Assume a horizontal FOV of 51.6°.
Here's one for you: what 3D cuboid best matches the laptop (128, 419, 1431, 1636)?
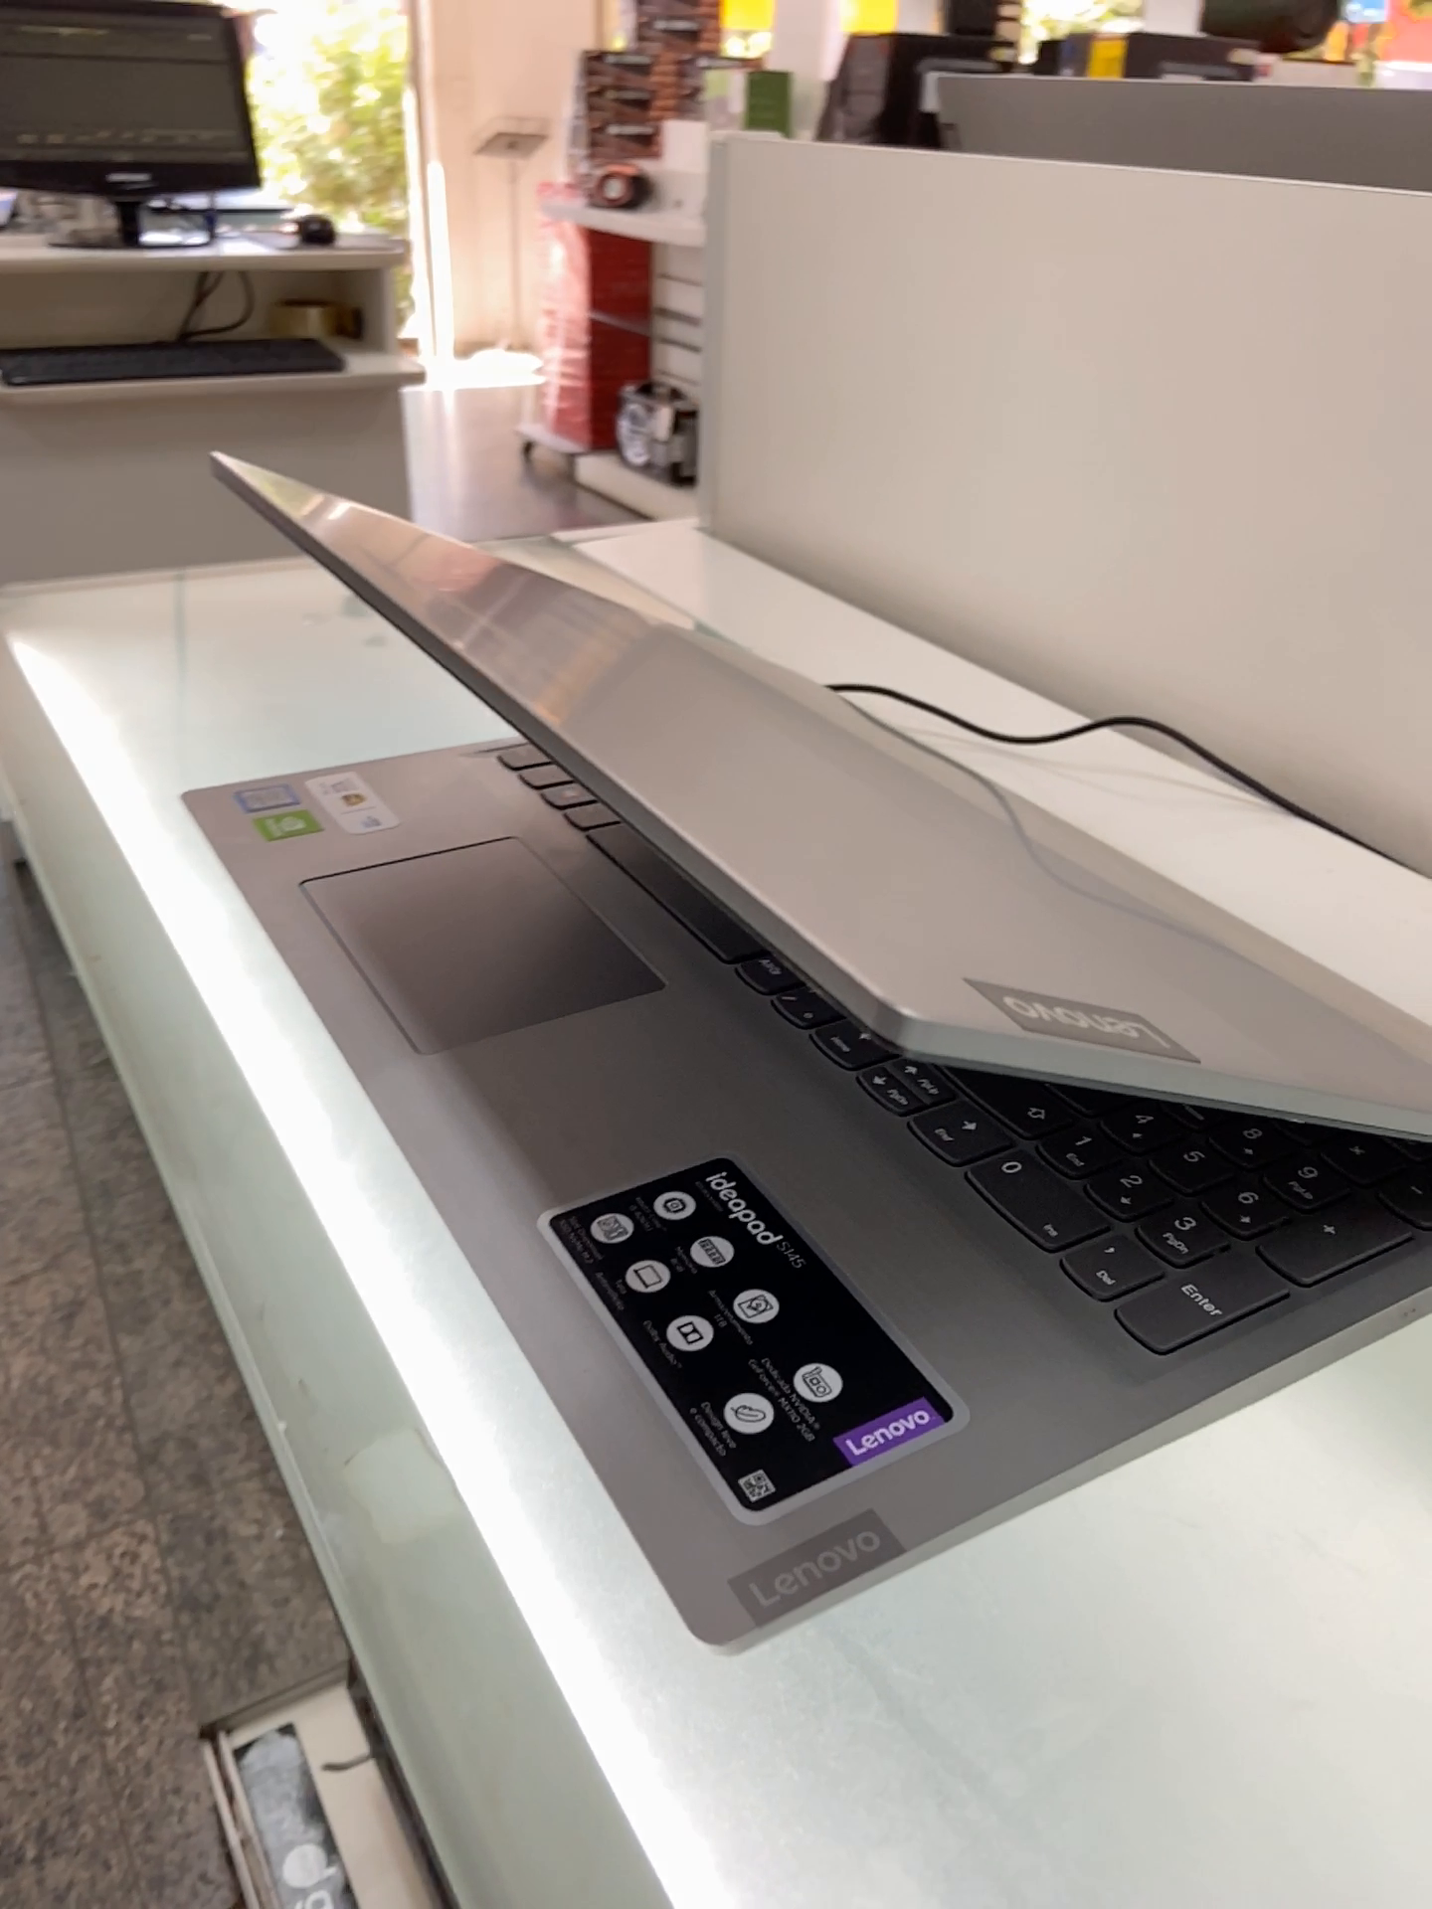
[{"bbox_3d":[0.015,-0.047,0.388,0.239,0.104,0.354,-15,34,-27],"label":"laptop"}]
